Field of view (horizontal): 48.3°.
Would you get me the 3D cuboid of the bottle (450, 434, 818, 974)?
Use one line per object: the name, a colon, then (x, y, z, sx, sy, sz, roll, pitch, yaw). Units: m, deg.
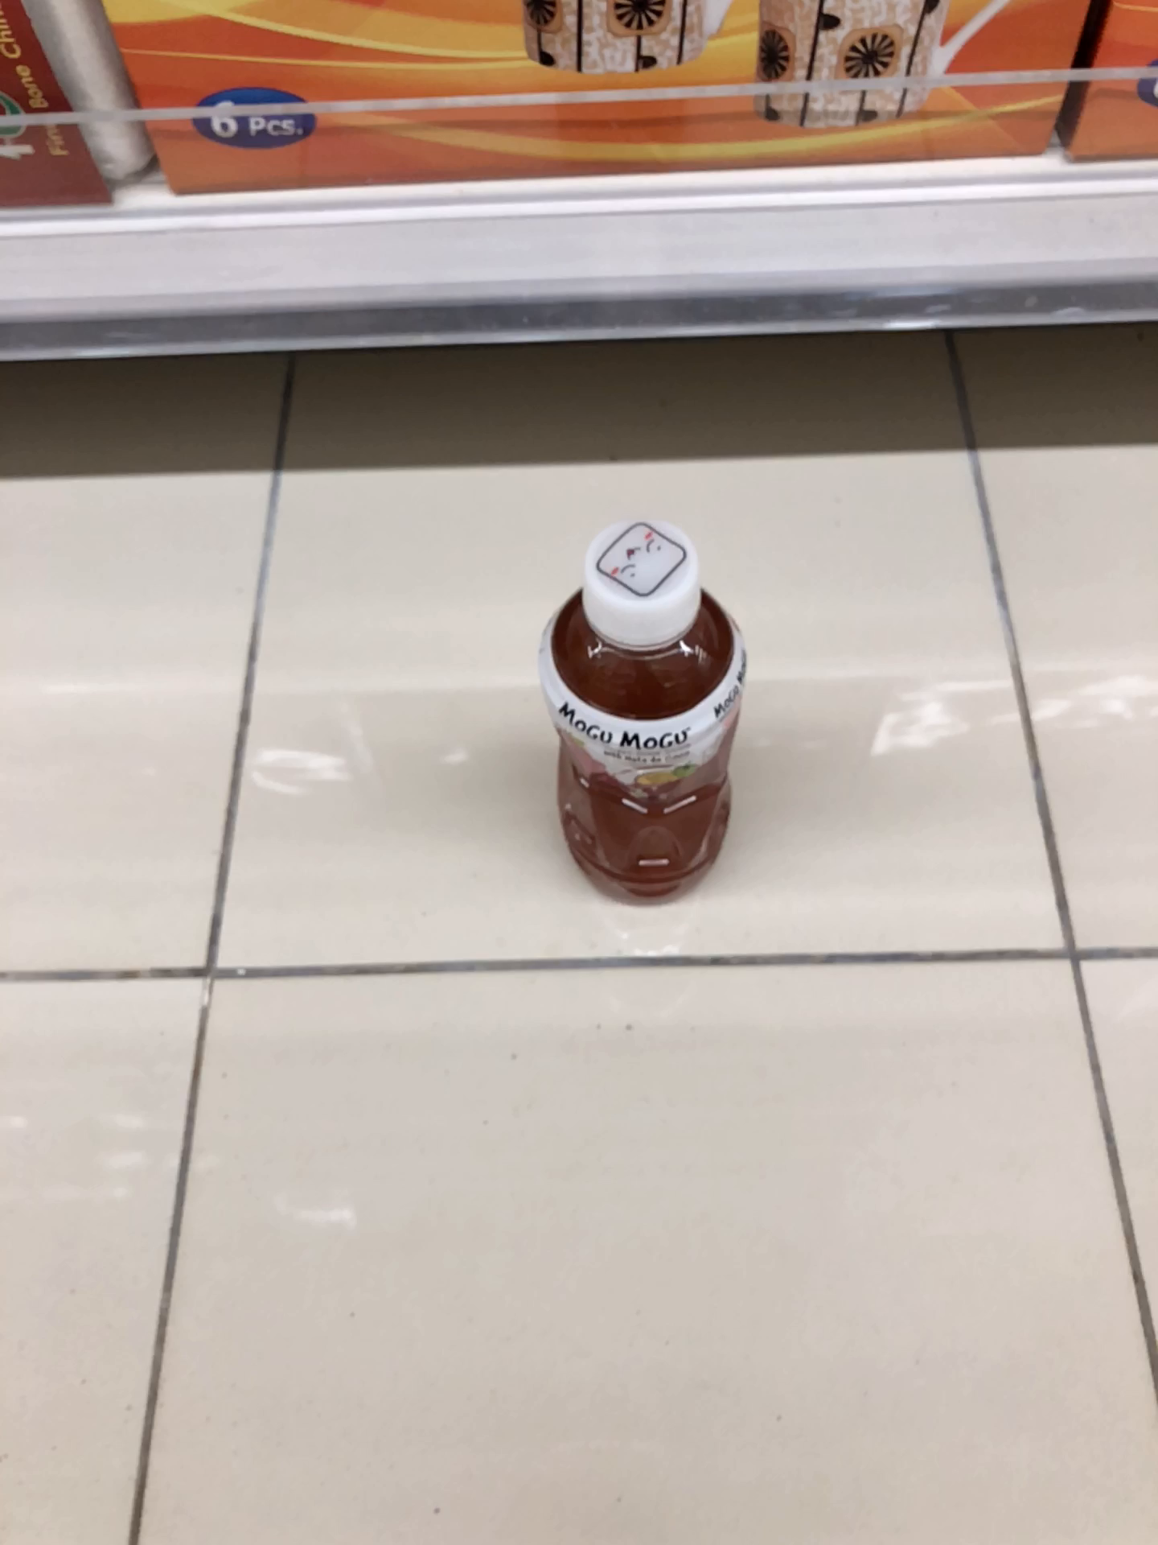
bottle: (0.018, -0.011, 0.386, 0.070, 0.159, 0.070, -1, 61, 2)
